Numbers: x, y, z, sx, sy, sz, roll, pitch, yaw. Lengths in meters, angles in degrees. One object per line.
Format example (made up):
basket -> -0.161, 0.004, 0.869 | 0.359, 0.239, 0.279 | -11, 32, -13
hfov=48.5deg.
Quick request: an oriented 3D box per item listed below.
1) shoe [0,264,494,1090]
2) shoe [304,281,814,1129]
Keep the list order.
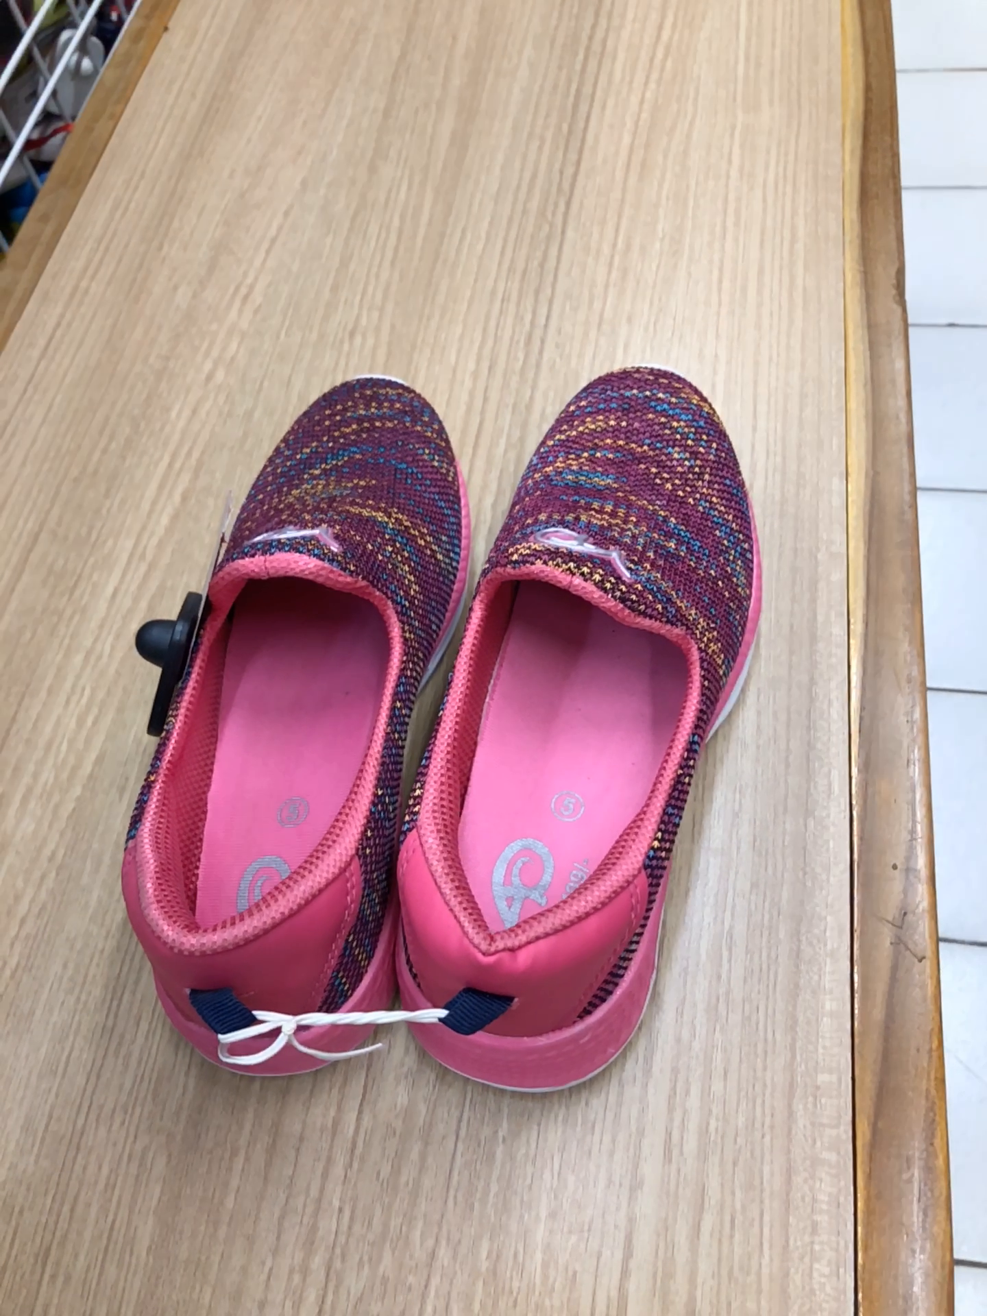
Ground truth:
shoe -> -0.063, -0.002, 0.361 | 0.090, 0.100, 0.251 | 1, 60, 9
shoe -> 0.038, 0.005, 0.374 | 0.100, 0.100, 0.261 | 9, 62, 13
